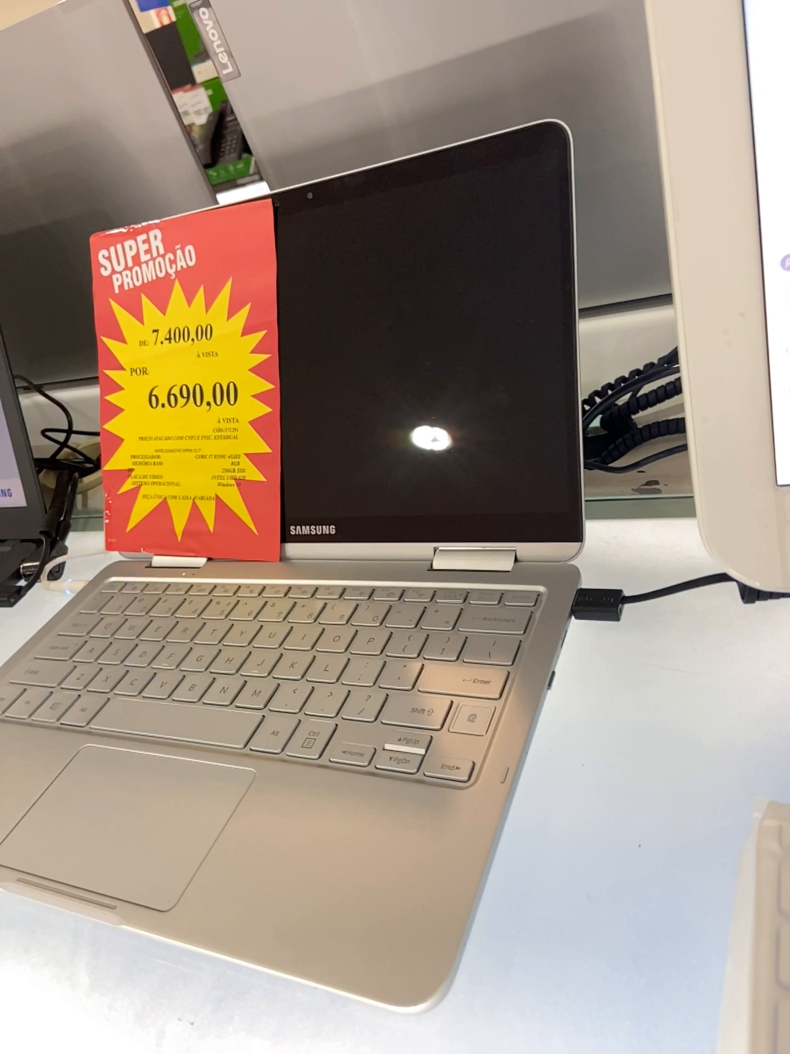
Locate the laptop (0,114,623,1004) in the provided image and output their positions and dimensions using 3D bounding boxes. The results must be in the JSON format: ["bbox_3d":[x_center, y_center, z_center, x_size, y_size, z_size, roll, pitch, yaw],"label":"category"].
[{"bbox_3d":[-0.091,-0.023,0.373,0.305,0.170,0.311,-2,35,29],"label":"laptop"}]
